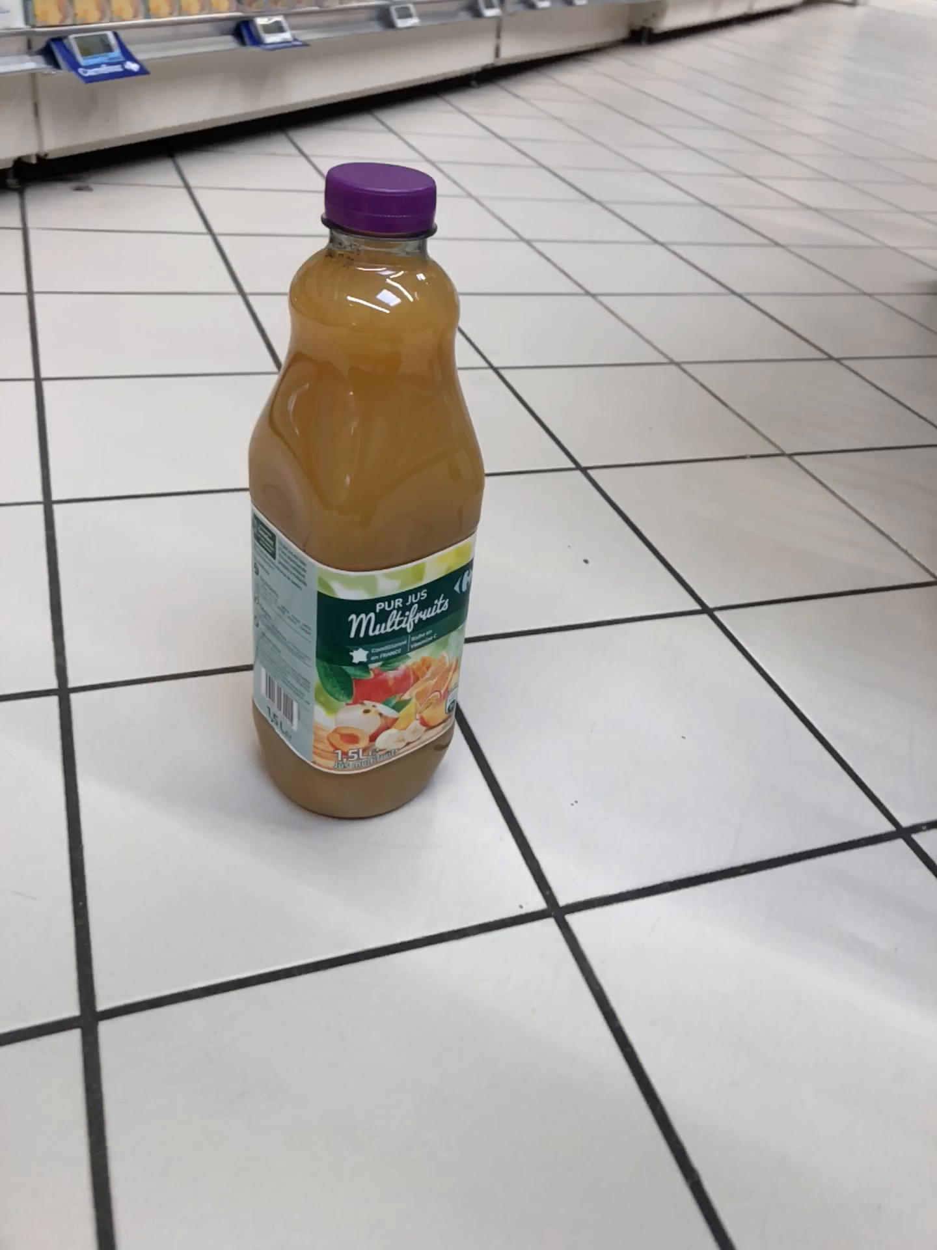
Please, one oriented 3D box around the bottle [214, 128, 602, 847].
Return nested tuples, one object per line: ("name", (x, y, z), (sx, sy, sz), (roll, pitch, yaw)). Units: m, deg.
("bottle", (-0.039, -0.053, 0.447), (0.101, 0.278, 0.100), (6, 34, -4))
